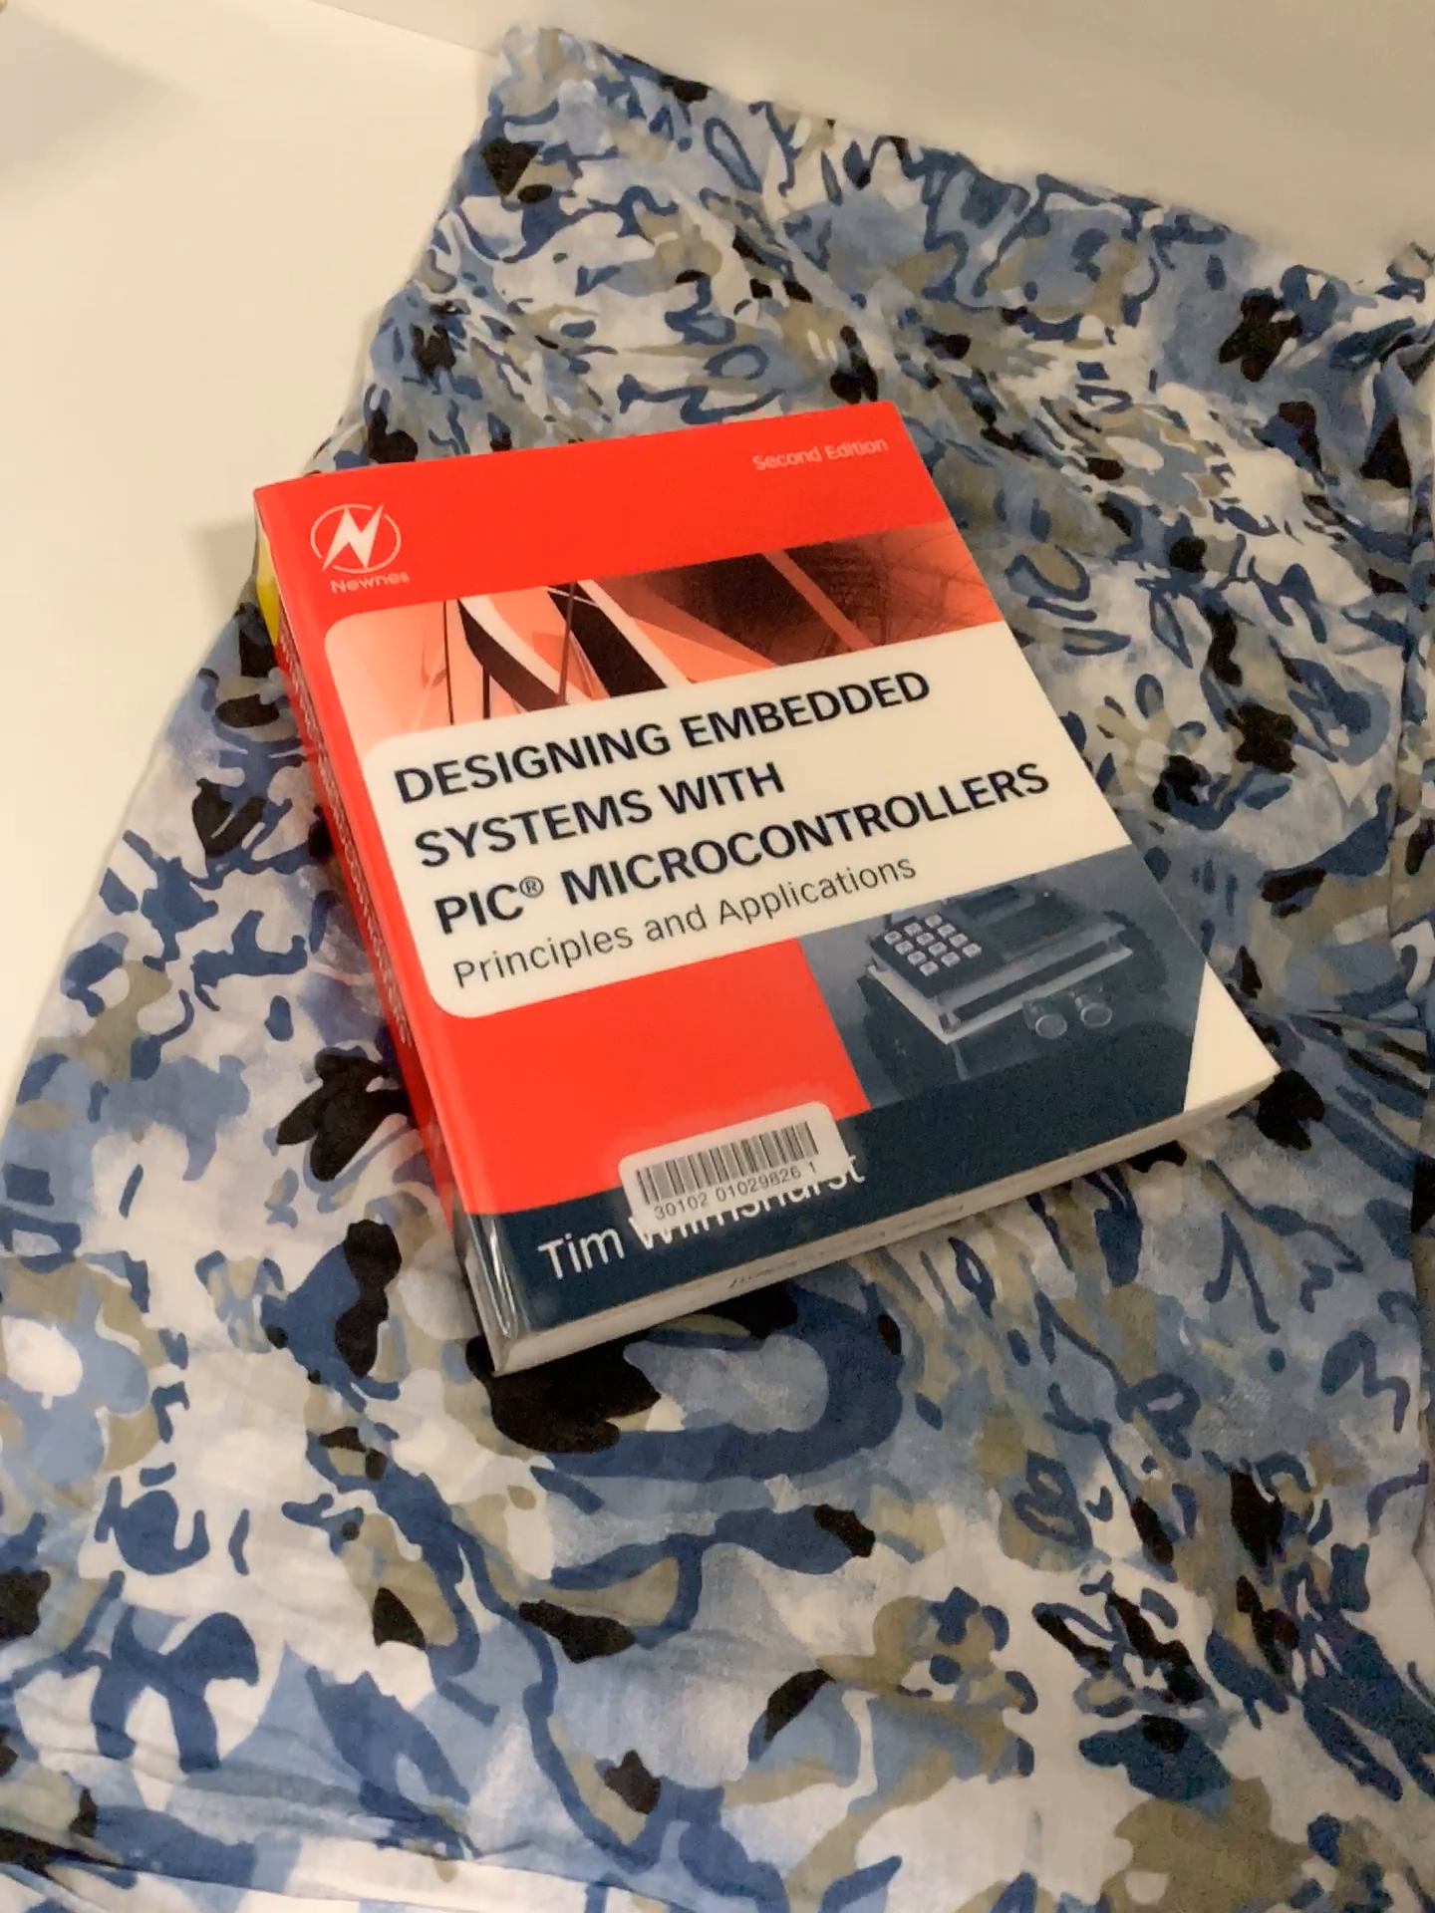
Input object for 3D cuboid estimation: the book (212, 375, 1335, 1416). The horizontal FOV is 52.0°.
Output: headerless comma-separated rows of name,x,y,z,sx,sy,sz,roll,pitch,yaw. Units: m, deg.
book,0.004,-0.036,0.383,0.210,0.050,0.238,-14,66,-18
